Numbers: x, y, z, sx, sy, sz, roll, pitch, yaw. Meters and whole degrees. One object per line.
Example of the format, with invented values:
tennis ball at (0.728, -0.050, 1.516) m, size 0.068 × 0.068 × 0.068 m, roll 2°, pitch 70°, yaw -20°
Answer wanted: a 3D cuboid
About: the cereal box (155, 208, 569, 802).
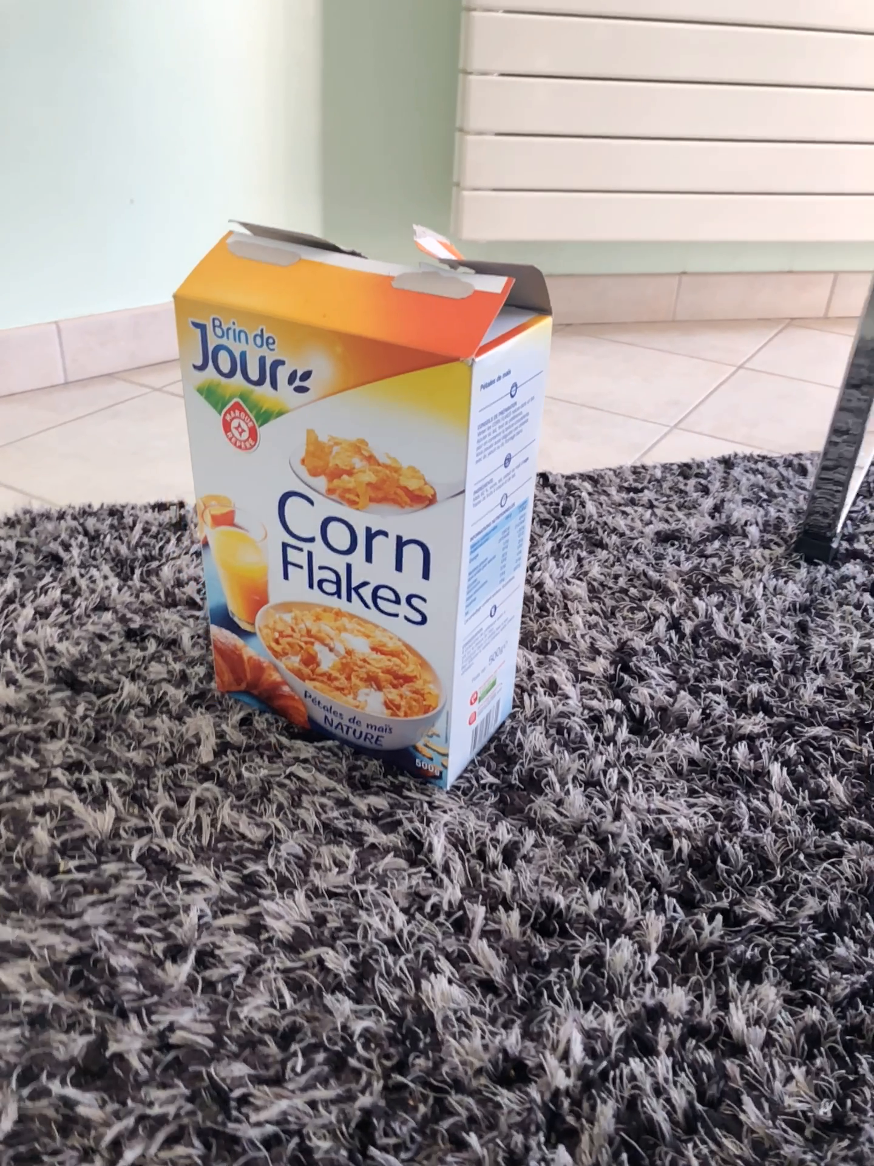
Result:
cereal box at (-0.049, -0.048, 0.593) m, size 0.200 × 0.308 × 0.101 m, roll 19°, pitch 34°, yaw 24°
